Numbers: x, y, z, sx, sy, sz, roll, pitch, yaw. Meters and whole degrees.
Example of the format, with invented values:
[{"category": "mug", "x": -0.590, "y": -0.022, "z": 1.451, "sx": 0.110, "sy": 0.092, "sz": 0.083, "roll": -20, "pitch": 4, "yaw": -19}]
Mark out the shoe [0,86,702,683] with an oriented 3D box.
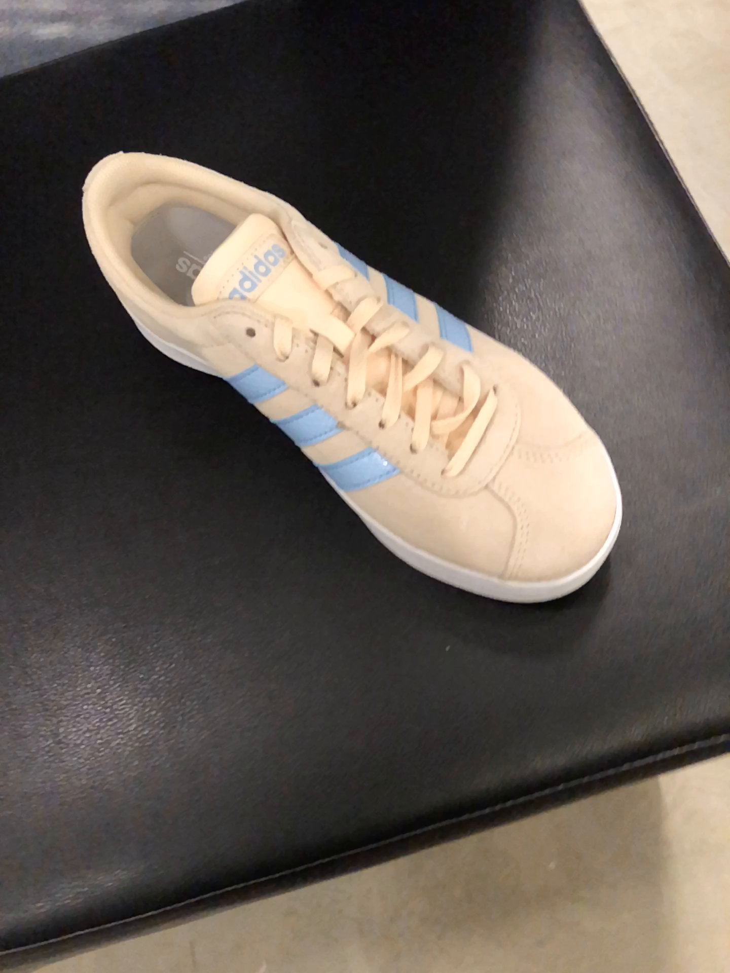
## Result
[{"category": "shoe", "x": -0.018, "y": -0.046, "z": 0.336, "sx": 0.260, "sy": 0.090, "sz": 0.100, "roll": 34, "pitch": 75, "yaw": 18}]
